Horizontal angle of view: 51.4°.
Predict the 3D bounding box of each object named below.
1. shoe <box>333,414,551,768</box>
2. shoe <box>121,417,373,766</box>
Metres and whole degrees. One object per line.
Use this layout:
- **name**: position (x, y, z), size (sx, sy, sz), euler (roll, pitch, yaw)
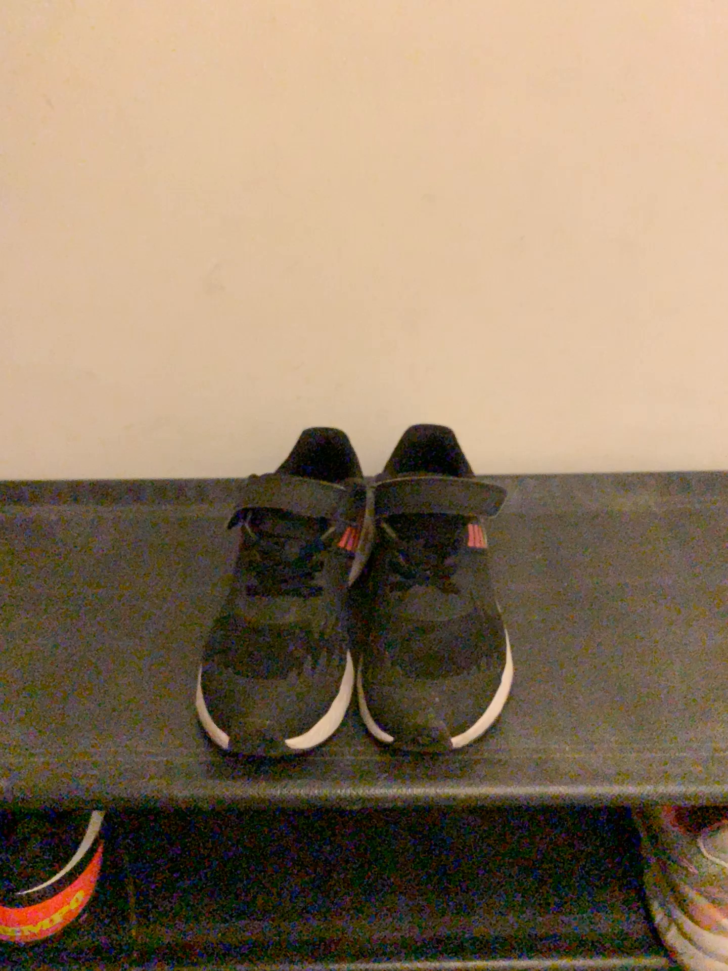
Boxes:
- **shoe**: position (0.039, 0.043, 0.419), size (0.090, 0.079, 0.202), euler (2, 32, 3)
- **shoe**: position (-0.050, 0.044, 0.431), size (0.090, 0.079, 0.202), euler (3, 33, 6)
